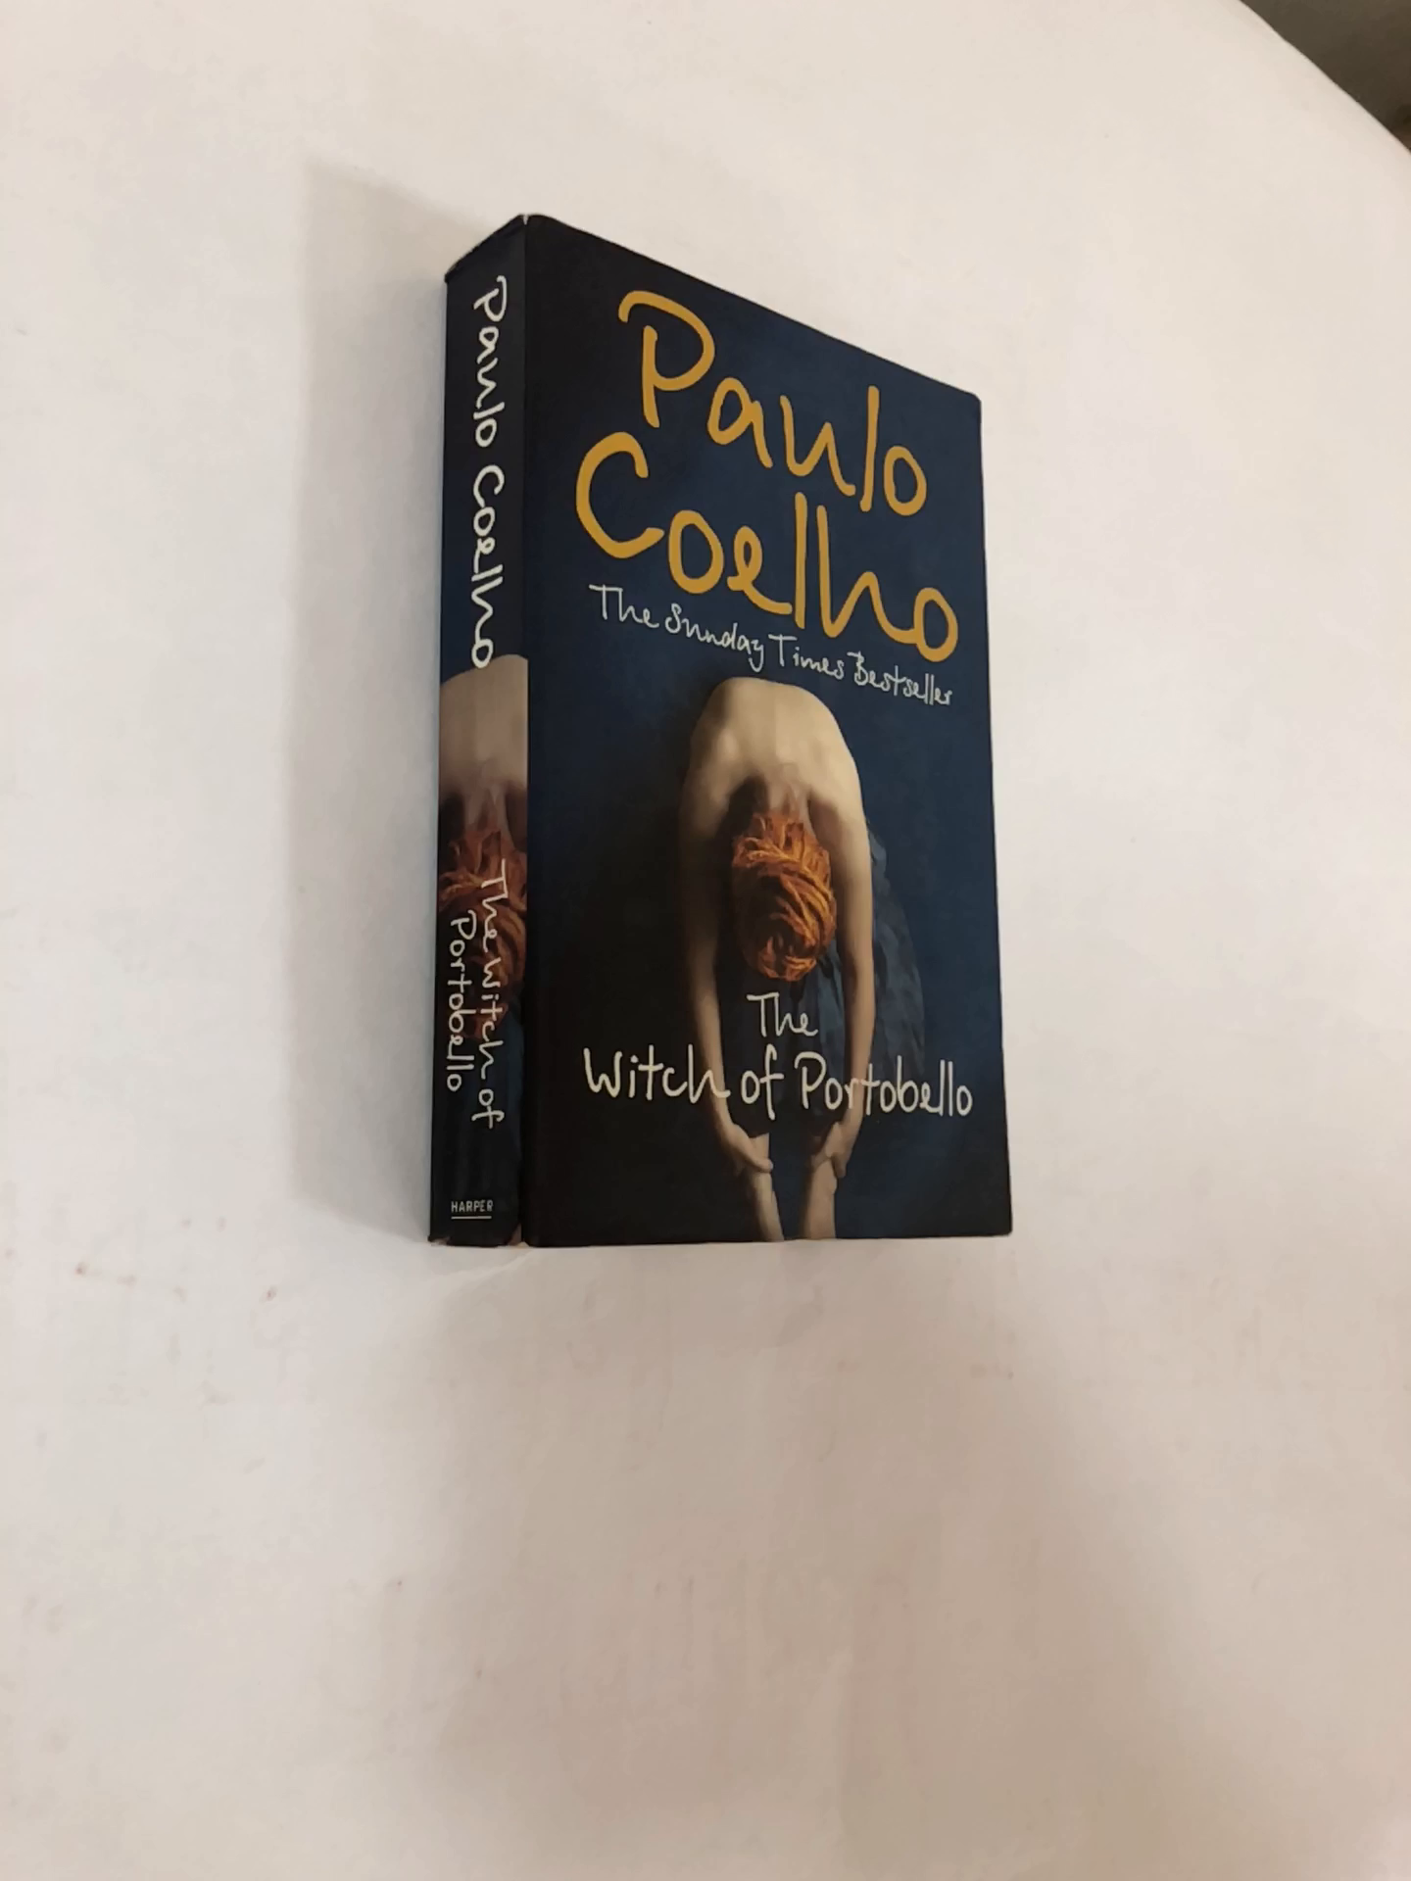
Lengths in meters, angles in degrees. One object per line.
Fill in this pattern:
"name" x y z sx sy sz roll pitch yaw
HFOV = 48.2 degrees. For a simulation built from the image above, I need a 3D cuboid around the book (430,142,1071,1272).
"book" 0.011 -0.034 0.290 0.120 0.030 0.180 6 78 -38
